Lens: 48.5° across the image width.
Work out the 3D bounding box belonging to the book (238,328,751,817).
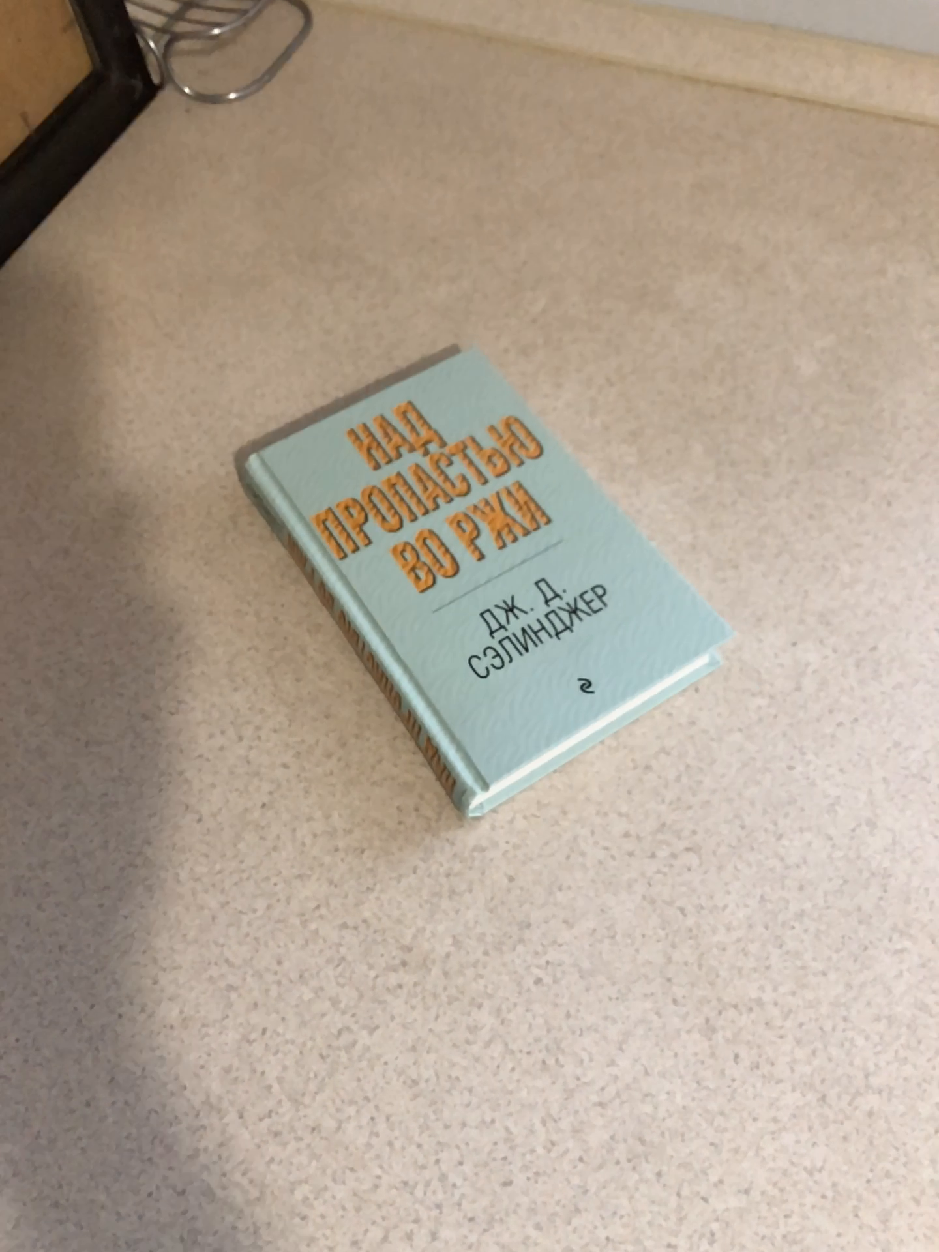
[{"bbox_3d":[0.003,-0.031,0.398,0.115,0.020,0.176,-30,62,-14],"label":"book"}]
